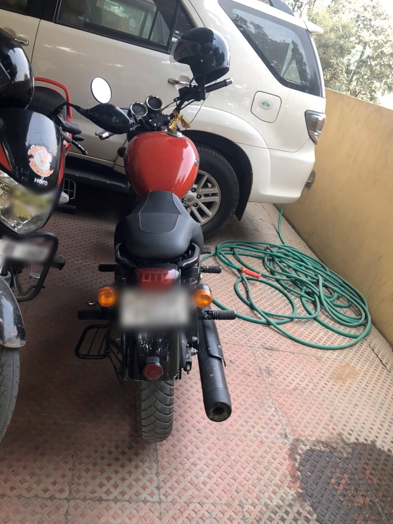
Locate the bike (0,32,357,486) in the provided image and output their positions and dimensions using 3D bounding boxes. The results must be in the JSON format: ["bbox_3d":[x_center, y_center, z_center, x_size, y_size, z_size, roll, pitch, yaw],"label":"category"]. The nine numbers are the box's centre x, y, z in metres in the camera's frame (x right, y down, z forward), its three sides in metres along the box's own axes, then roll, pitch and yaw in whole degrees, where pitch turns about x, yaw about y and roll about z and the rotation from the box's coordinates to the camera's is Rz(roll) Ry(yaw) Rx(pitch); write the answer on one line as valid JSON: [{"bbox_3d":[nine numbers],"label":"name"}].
[{"bbox_3d":[-0.304,-0.221,1.960,0.820,1.270,1.721,12,26,-14],"label":"bike"}]
